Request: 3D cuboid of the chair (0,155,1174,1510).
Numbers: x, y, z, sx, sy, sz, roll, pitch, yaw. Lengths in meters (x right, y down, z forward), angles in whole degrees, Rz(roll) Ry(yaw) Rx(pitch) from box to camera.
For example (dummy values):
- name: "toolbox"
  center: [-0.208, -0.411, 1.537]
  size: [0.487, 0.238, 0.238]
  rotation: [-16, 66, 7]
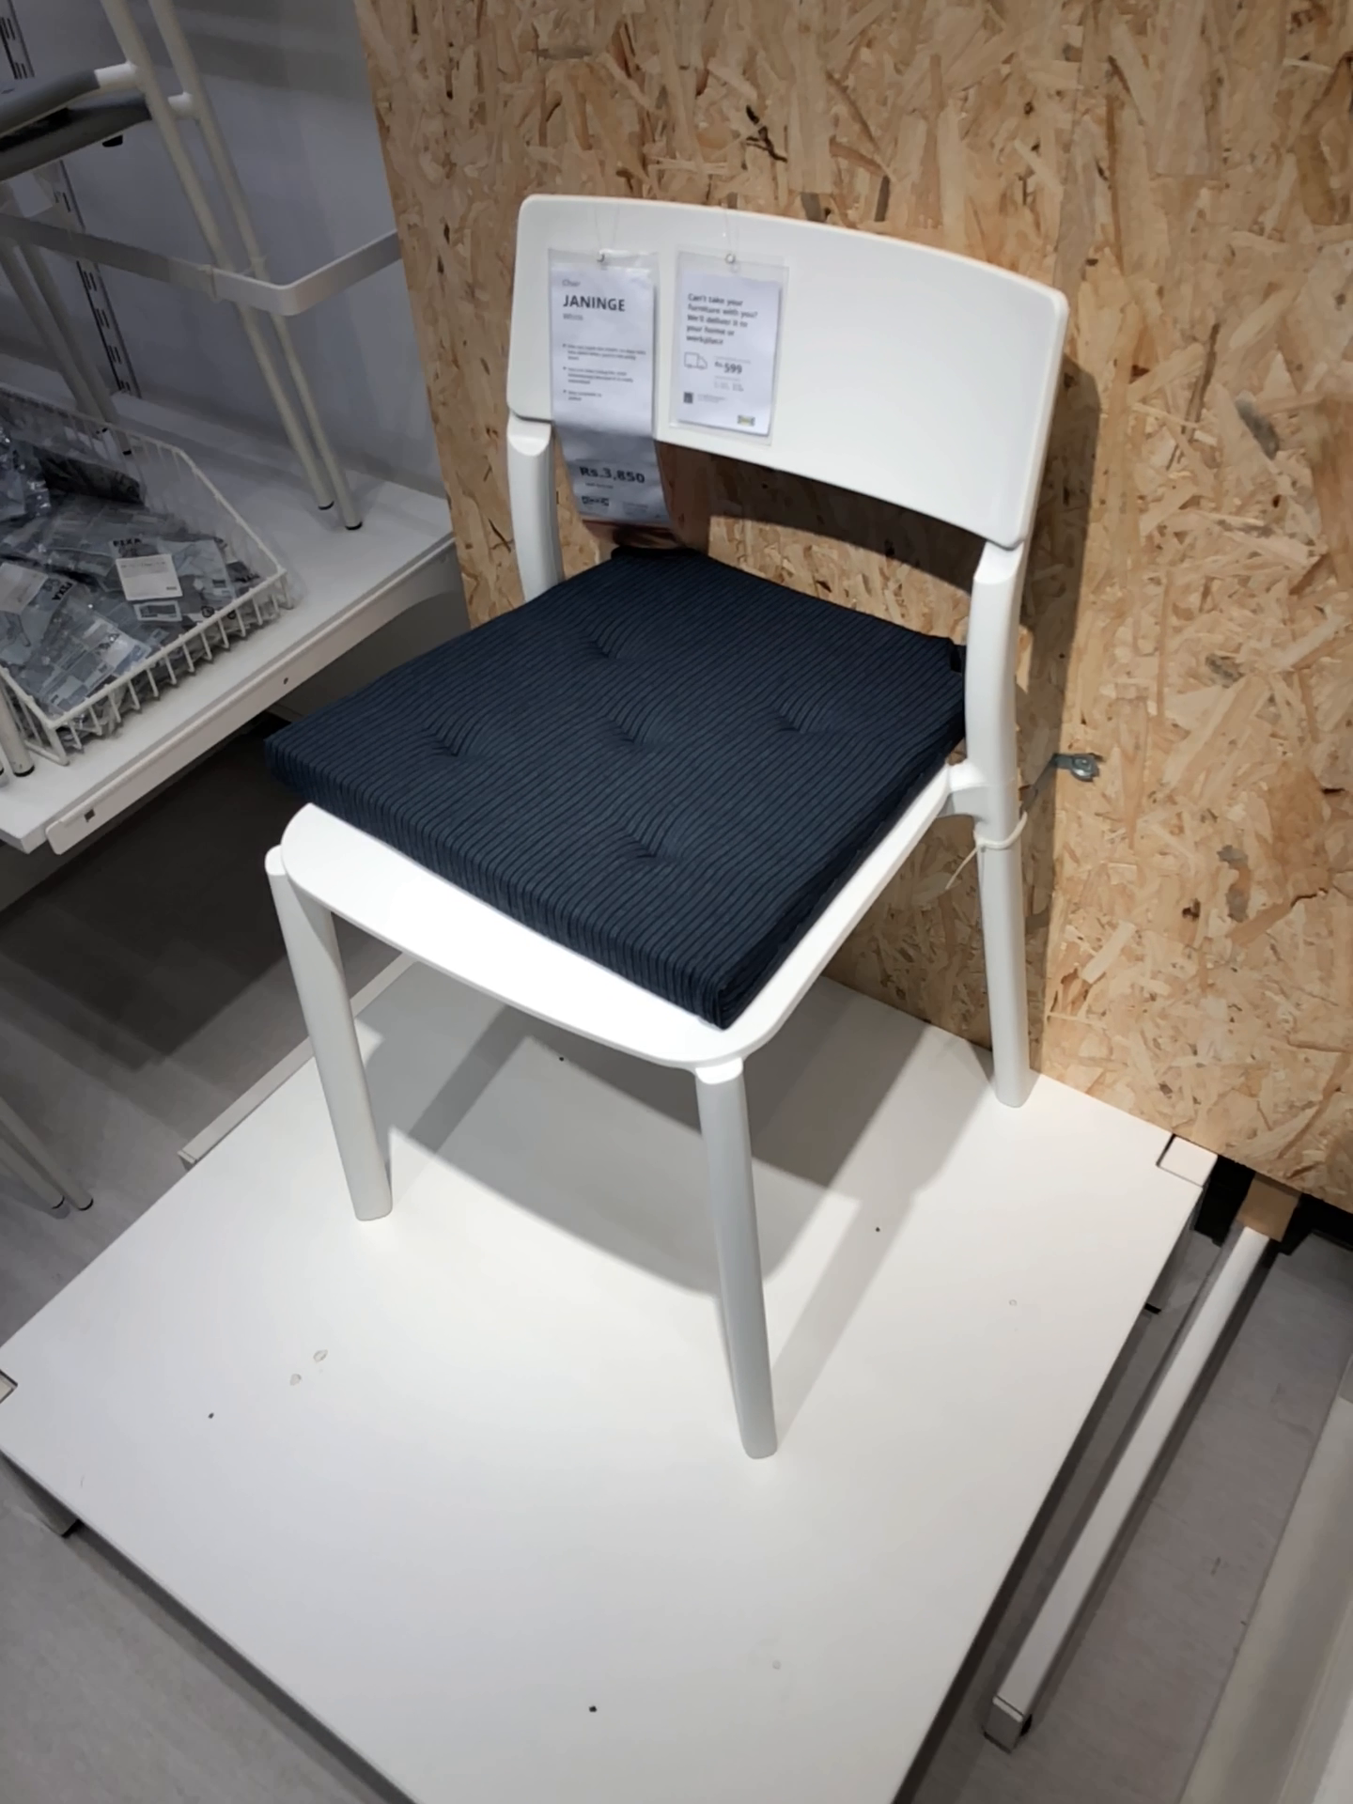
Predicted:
- name: "chair"
  center: [-0.037, -0.050, 1.031]
  size: [0.491, 0.685, 0.462]
  rotation: [23, 50, 26]
